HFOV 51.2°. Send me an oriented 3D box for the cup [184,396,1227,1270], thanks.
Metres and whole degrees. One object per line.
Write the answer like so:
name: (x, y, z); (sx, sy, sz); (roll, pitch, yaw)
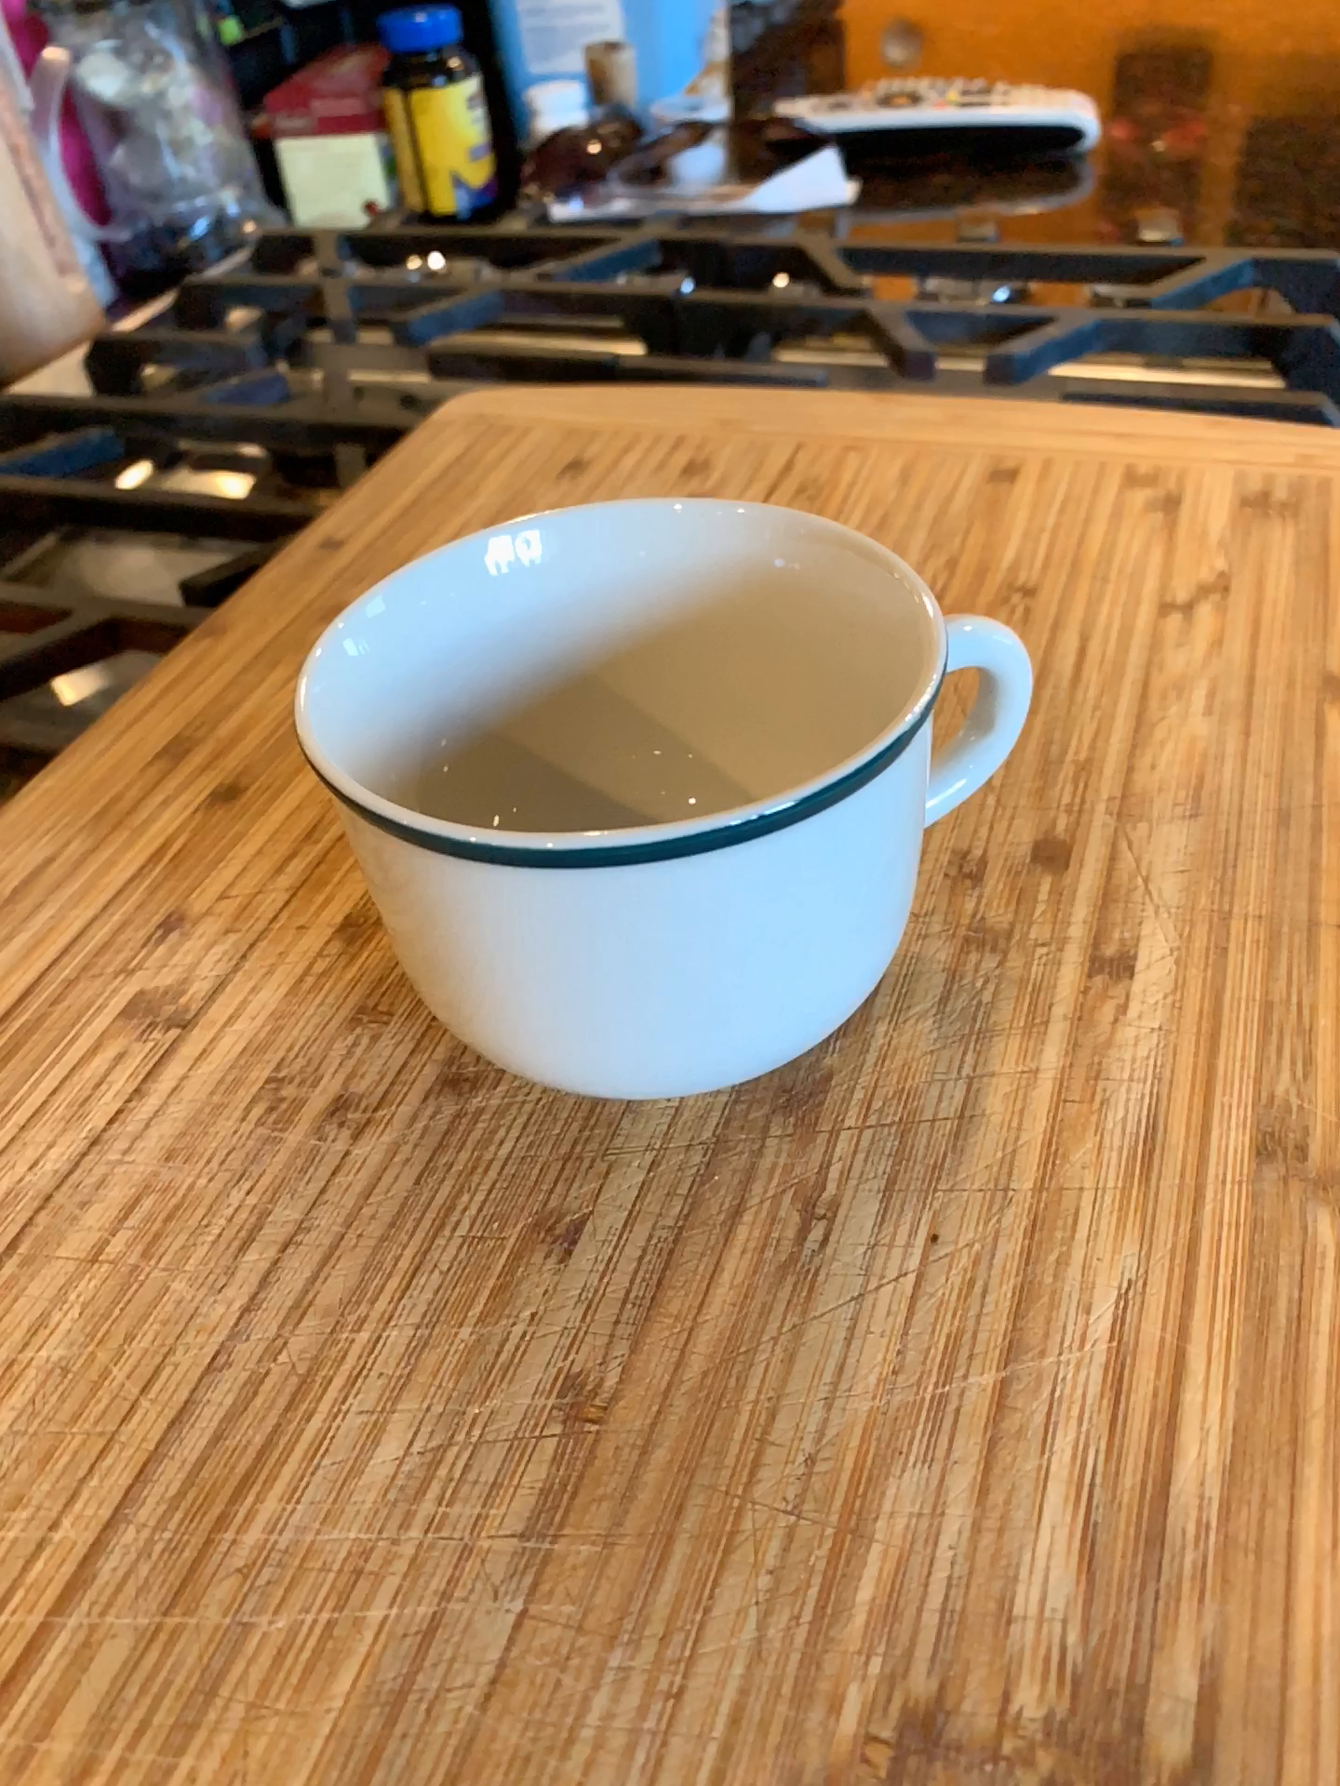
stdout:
cup: (0.002, -0.018, 0.217); (0.120, 0.060, 0.090); (-21, 43, -15)
